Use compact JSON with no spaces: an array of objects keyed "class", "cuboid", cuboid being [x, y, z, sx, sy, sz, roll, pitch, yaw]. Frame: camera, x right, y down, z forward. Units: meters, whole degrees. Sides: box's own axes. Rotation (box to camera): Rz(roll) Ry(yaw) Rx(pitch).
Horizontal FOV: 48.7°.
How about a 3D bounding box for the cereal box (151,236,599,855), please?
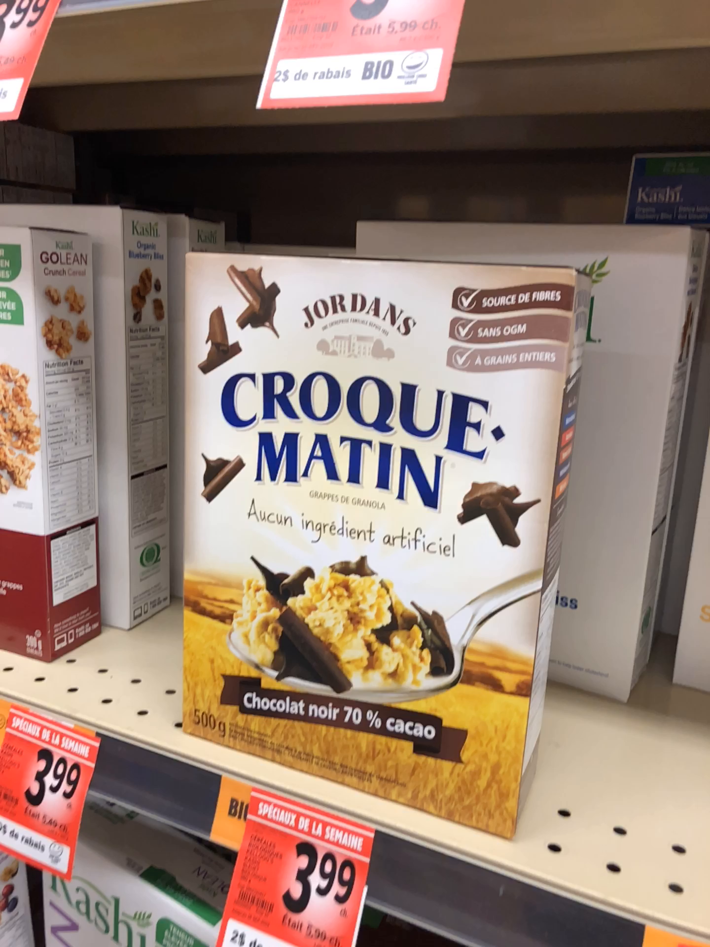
[{"class":"cereal box","cuboid":[-0.002,0.023,0.368,0.190,0.249,0.050,9,13,23]}]
